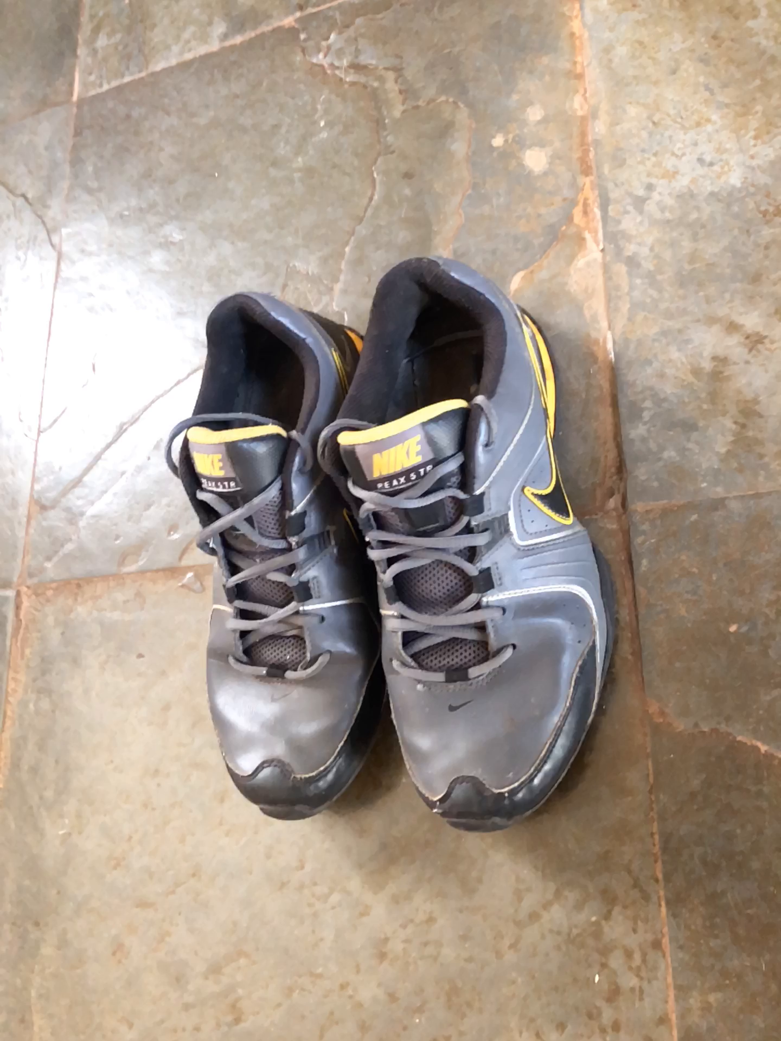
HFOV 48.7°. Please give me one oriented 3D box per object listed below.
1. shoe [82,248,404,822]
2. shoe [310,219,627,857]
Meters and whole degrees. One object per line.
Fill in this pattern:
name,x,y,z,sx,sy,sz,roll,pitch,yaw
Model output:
shoe,-0.059,0.012,0.411,0.100,0.100,0.240,-6,73,22
shoe,0.037,0.011,0.377,0.100,0.100,0.240,-6,73,22
